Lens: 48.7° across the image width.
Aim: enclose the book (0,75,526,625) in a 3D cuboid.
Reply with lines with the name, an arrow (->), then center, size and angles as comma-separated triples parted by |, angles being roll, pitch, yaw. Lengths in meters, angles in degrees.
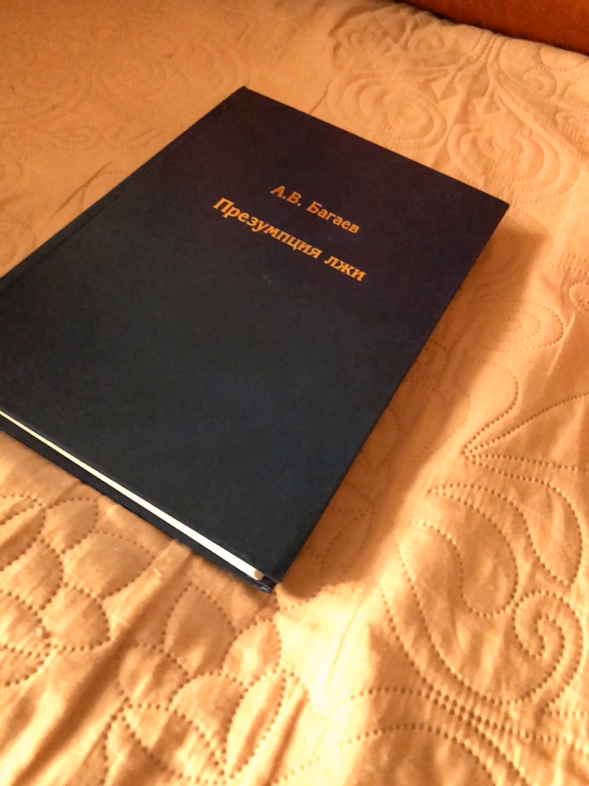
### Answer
book -> -0.017, -0.053, 0.319 | 0.180, 0.030, 0.261 | 28, 57, 13
